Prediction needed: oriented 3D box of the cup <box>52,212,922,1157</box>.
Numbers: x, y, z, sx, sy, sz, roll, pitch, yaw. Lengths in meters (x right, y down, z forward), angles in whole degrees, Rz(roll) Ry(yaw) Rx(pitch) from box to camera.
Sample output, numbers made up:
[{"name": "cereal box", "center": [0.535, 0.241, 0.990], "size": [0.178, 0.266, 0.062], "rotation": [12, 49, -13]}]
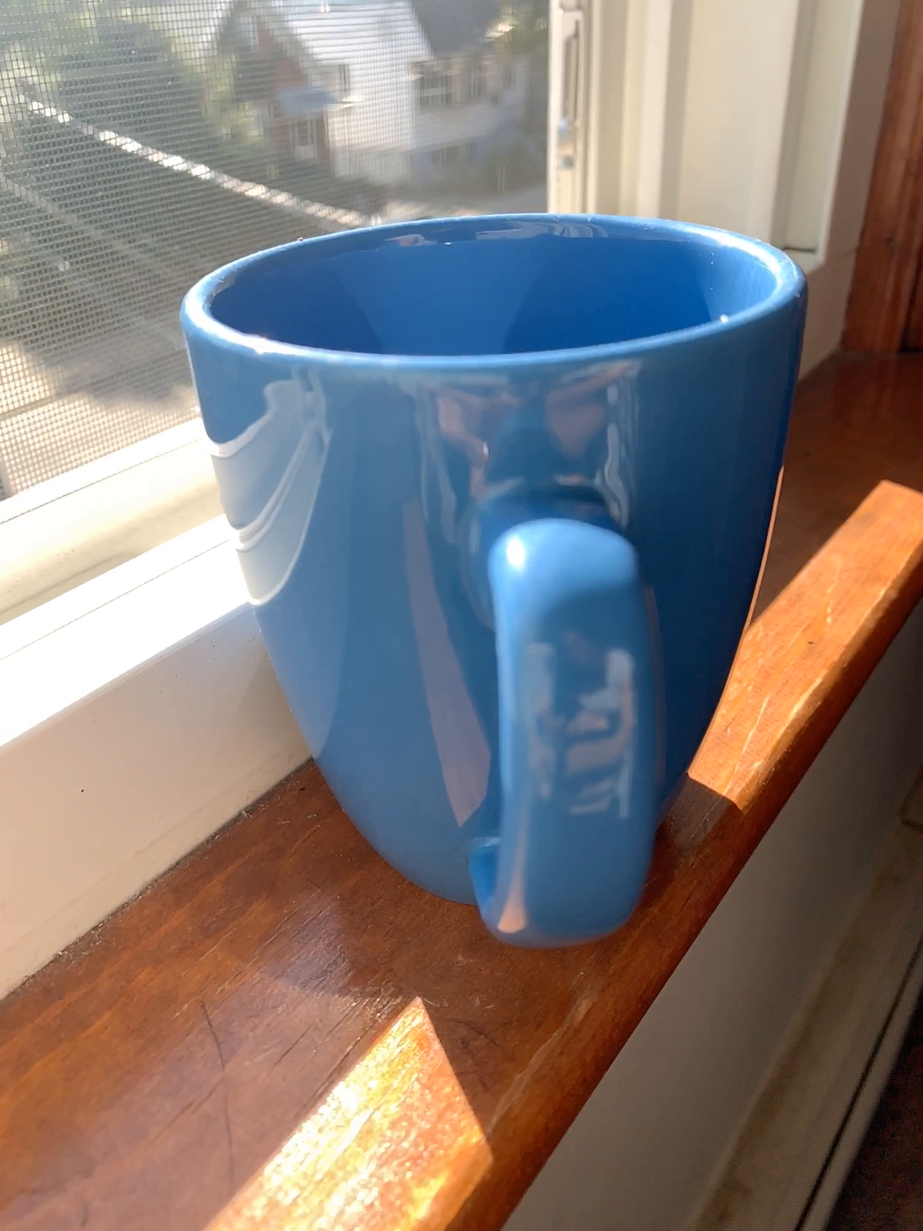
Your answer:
[{"name": "cup", "center": [0.006, -0.001, 0.151], "size": [0.081, 0.095, 0.114], "rotation": [-2, 32, -2]}]
